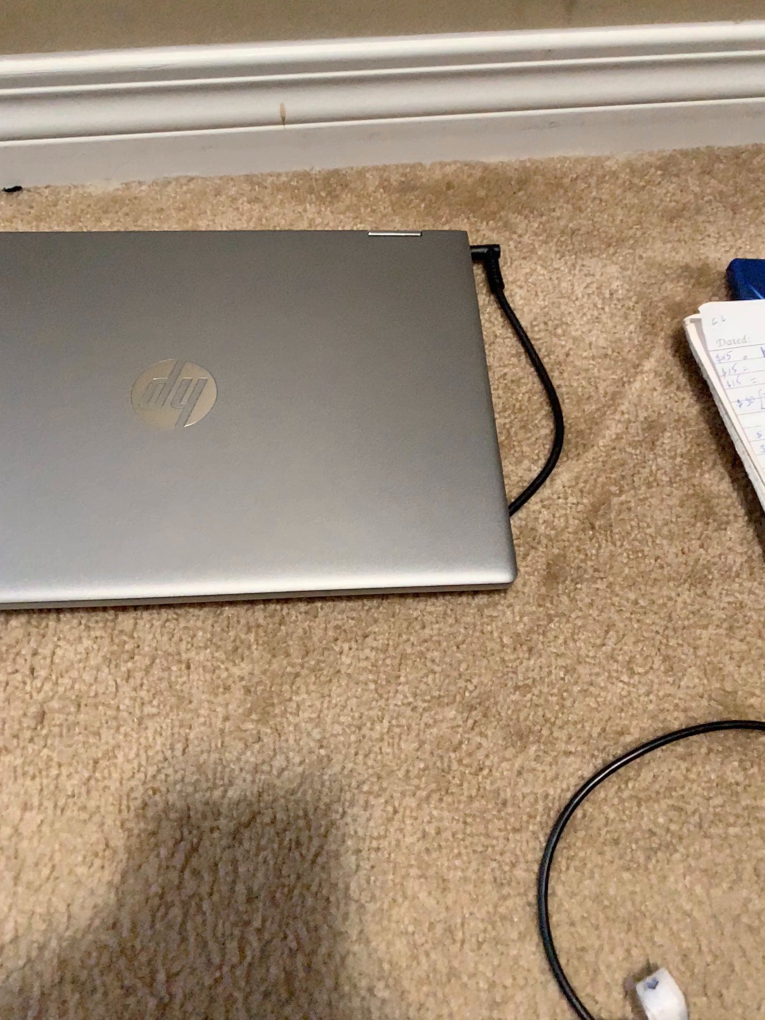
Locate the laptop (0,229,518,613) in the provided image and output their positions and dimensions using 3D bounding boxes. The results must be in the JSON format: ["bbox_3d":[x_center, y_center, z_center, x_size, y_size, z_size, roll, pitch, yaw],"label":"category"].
[{"bbox_3d":[-0.103,-0.061,0.394,0.319,0.001,0.222,-2,62,-6],"label":"laptop"}]
